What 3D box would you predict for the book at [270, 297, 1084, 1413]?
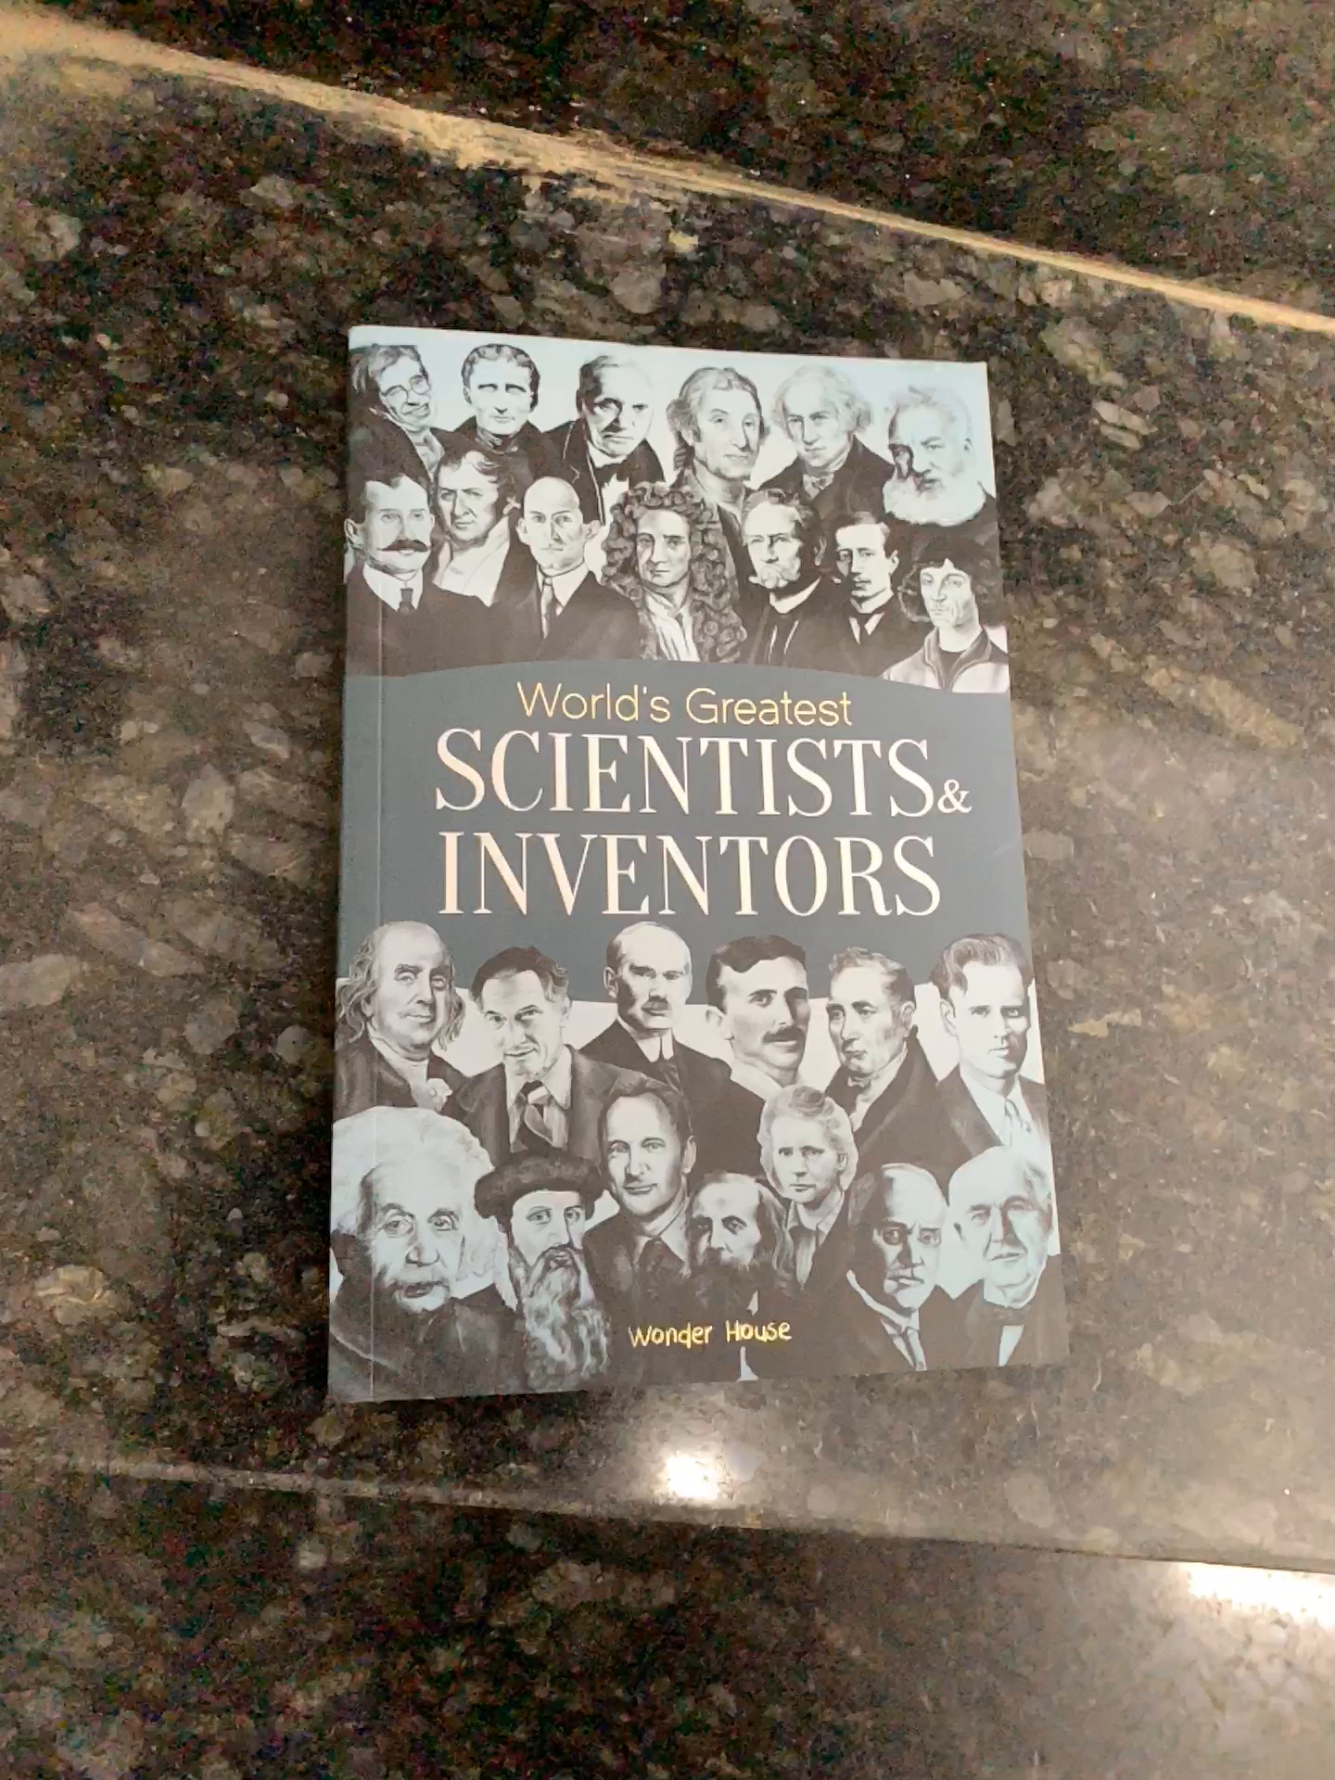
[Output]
[{"bbox_3d":[0.000,-0.012,0.264,0.140,0.020,0.200,0,78,-11],"label":"book"}]
